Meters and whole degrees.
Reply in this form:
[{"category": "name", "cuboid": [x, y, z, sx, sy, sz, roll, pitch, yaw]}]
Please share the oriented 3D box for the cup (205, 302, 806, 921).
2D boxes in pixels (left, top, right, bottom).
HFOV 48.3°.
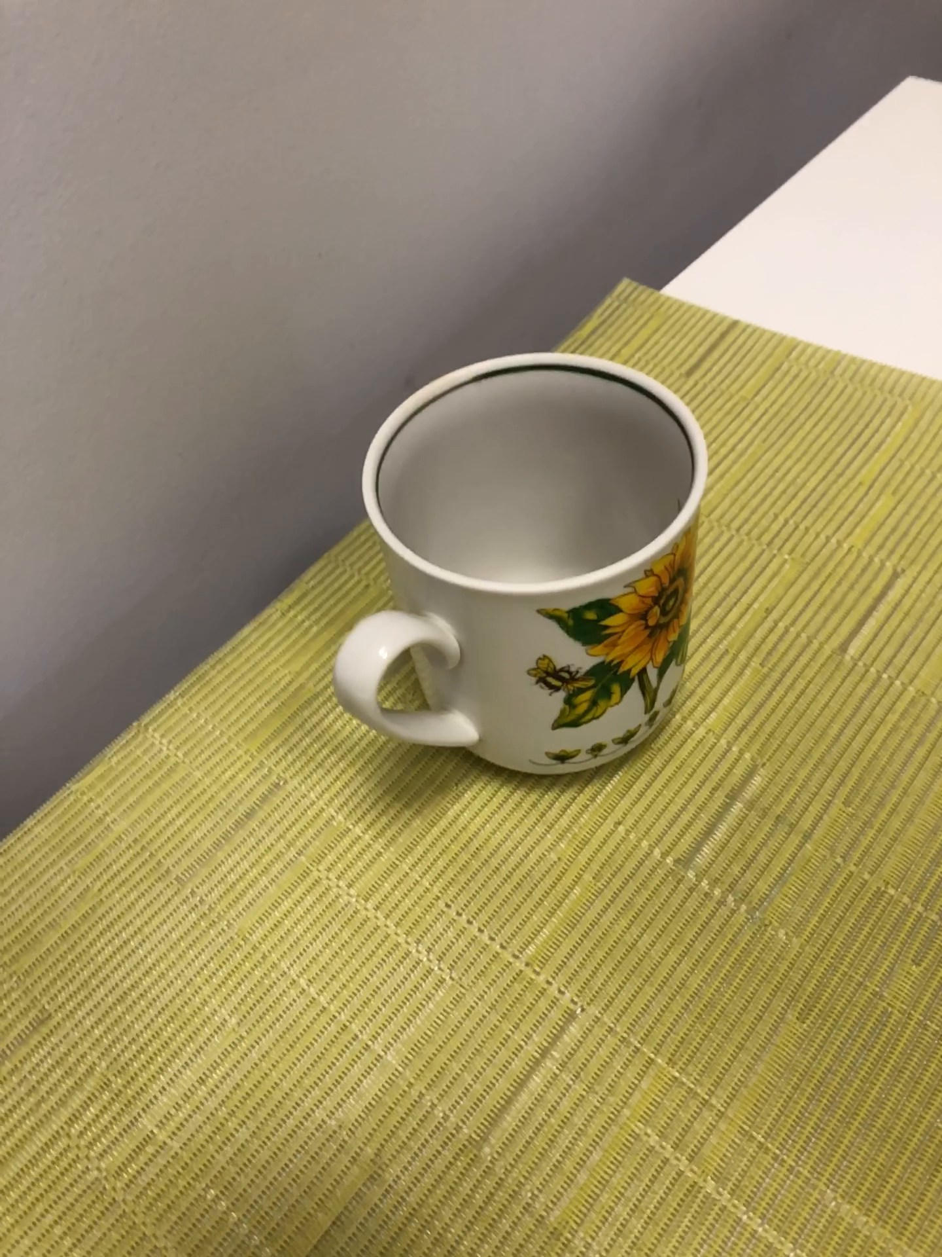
[{"category": "cup", "cuboid": [0.014, -0.009, 0.281, 0.088, 0.084, 0.116, 34, 63, 32]}]
